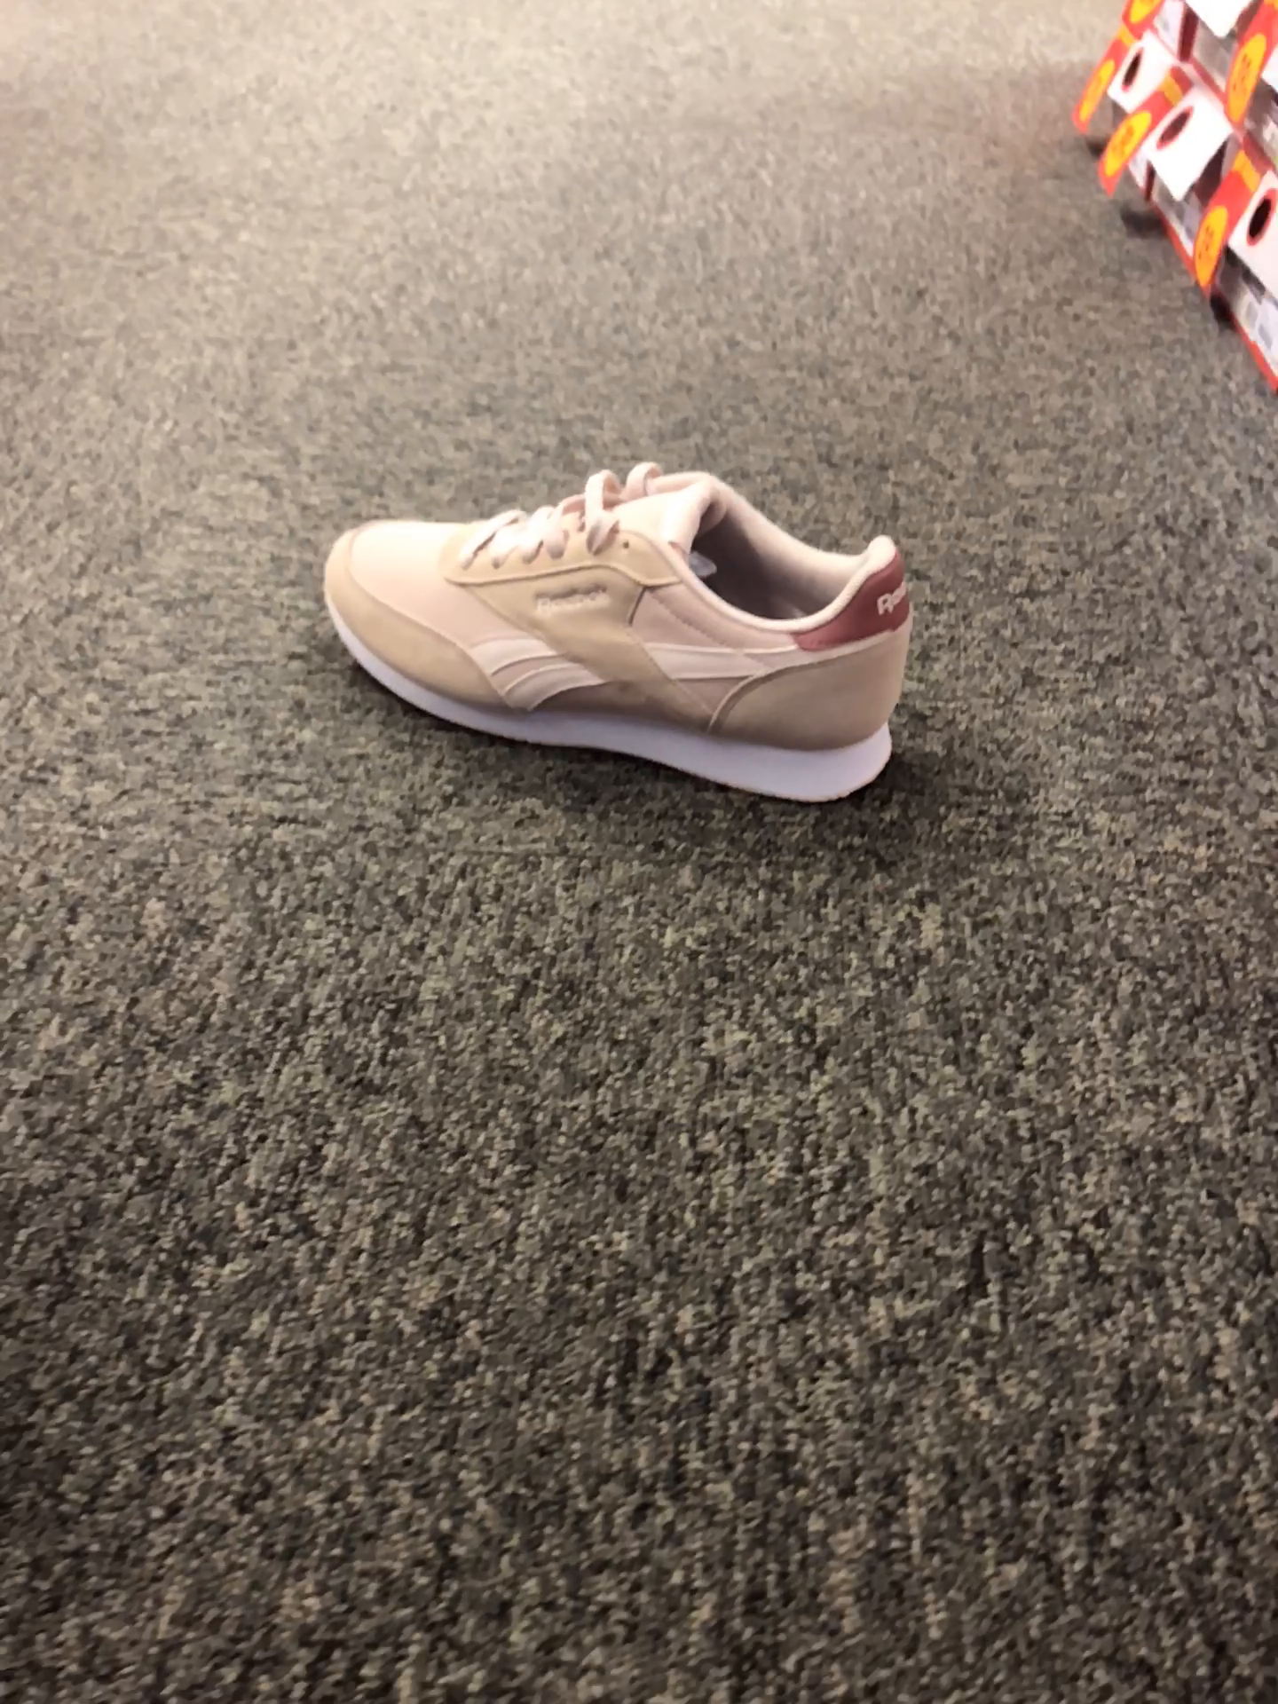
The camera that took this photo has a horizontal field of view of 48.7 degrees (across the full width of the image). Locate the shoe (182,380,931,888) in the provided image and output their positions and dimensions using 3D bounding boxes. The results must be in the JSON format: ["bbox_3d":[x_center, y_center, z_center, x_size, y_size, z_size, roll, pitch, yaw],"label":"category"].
[{"bbox_3d":[-0.034,-0.096,0.572,0.270,0.109,0.101,18,44,20],"label":"shoe"}]
